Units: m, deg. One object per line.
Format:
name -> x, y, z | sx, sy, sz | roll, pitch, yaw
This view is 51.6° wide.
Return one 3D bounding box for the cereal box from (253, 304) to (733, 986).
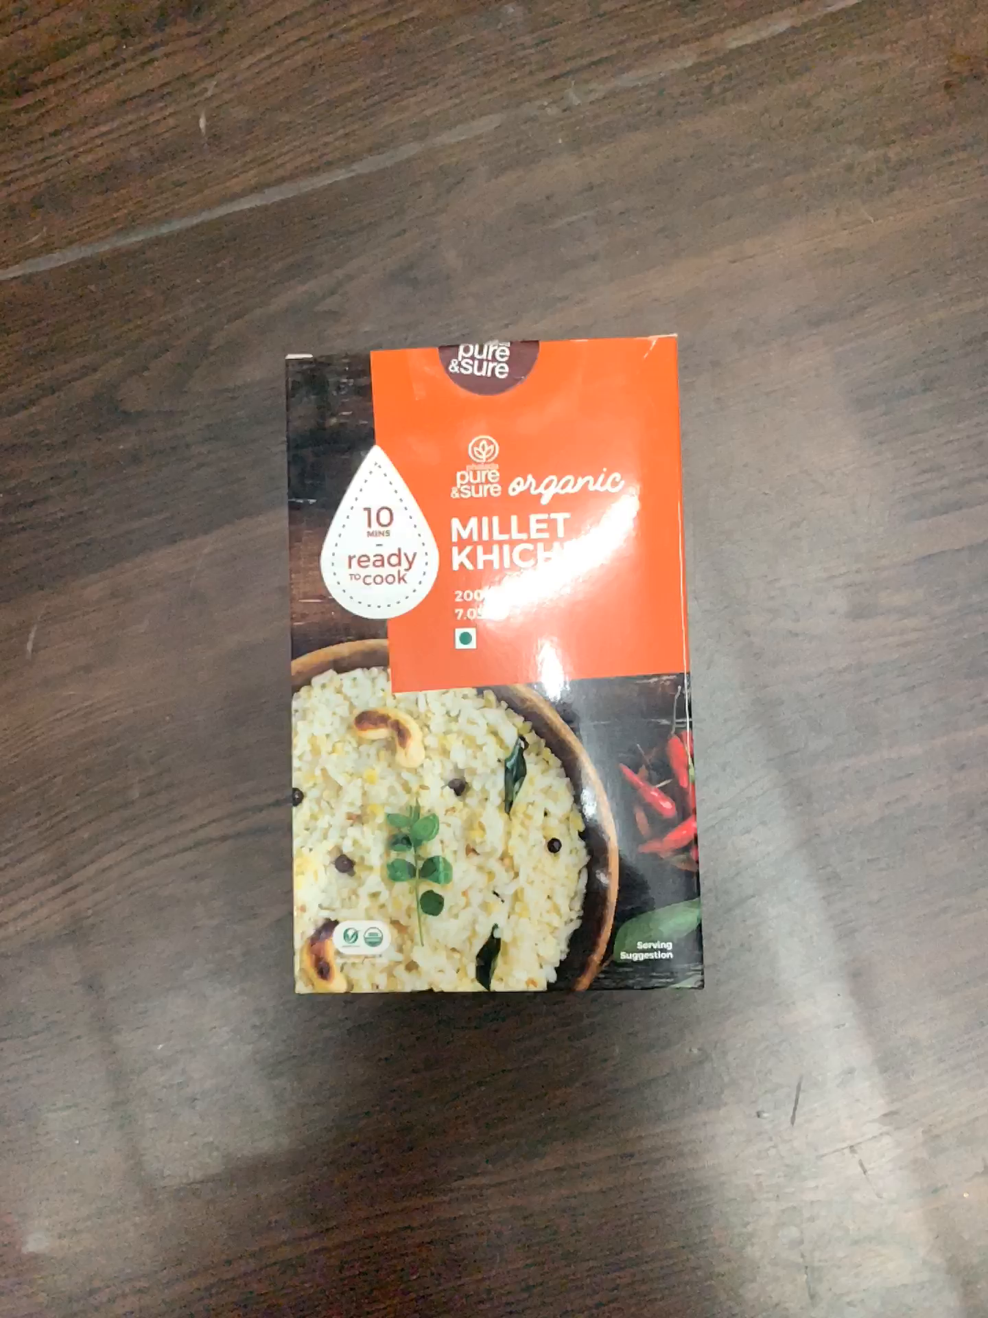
cereal box -> -0.001, -0.002, 0.266 | 0.110, 0.040, 0.160 | -3, 85, 5
